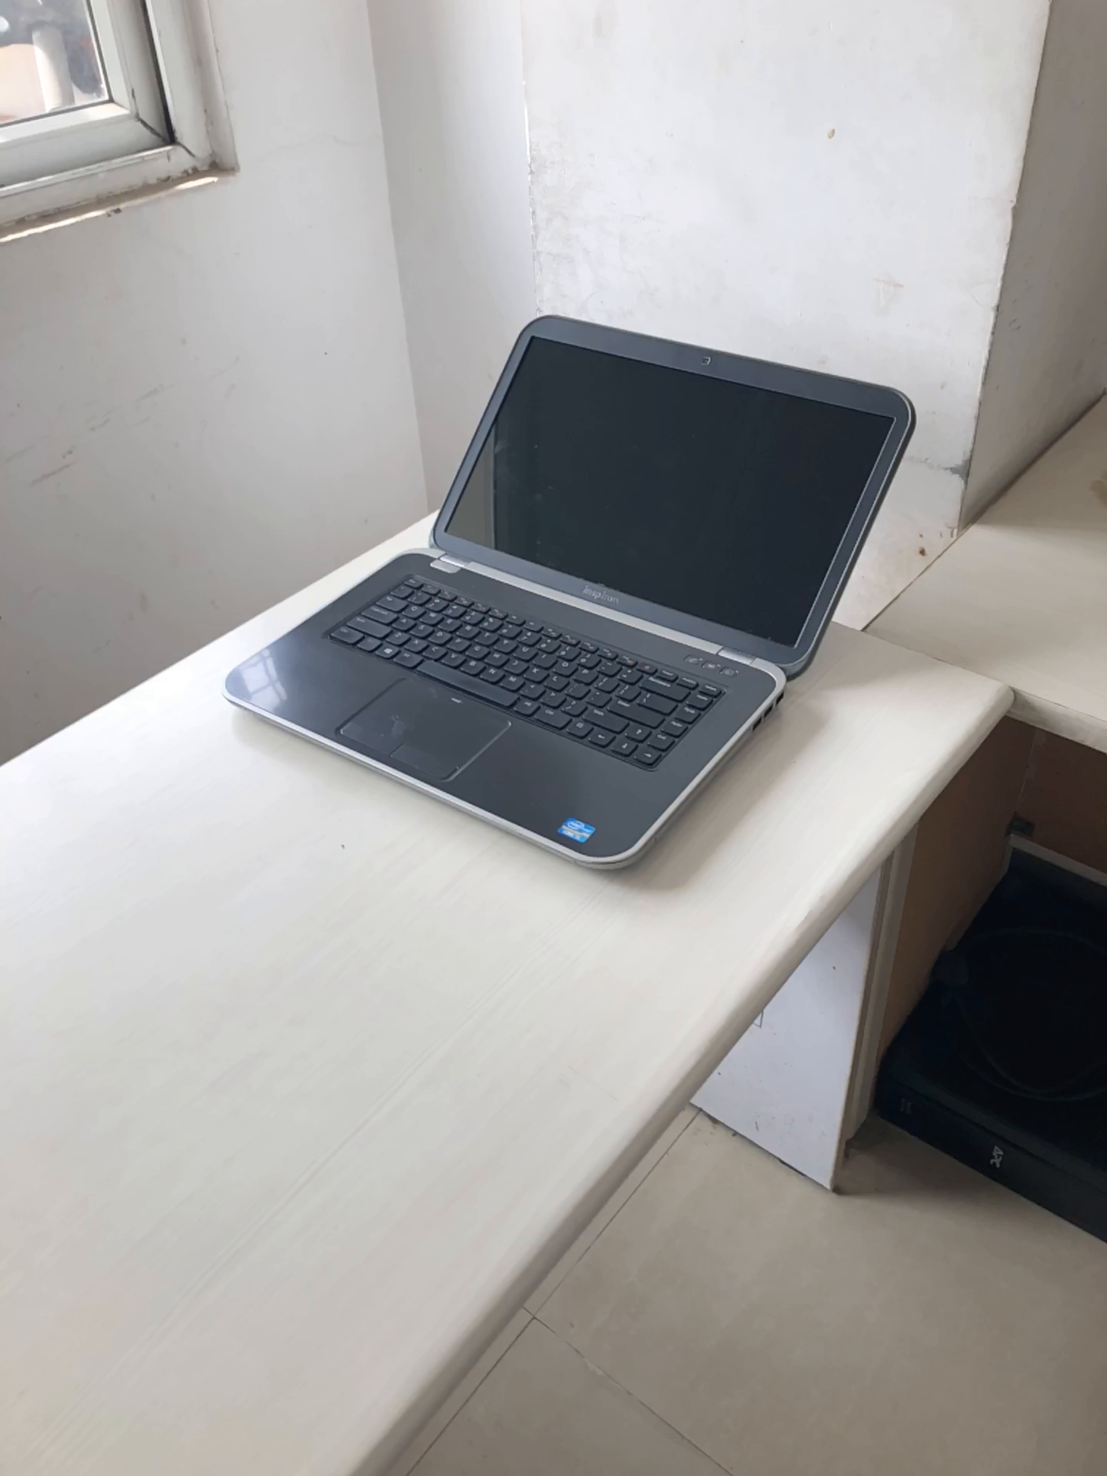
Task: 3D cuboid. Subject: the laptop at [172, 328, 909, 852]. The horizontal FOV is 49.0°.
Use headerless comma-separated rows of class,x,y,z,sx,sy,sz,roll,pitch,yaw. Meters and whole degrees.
laptop,0.008,-0.146,0.915,0.342,0.145,0.408,22,45,28
